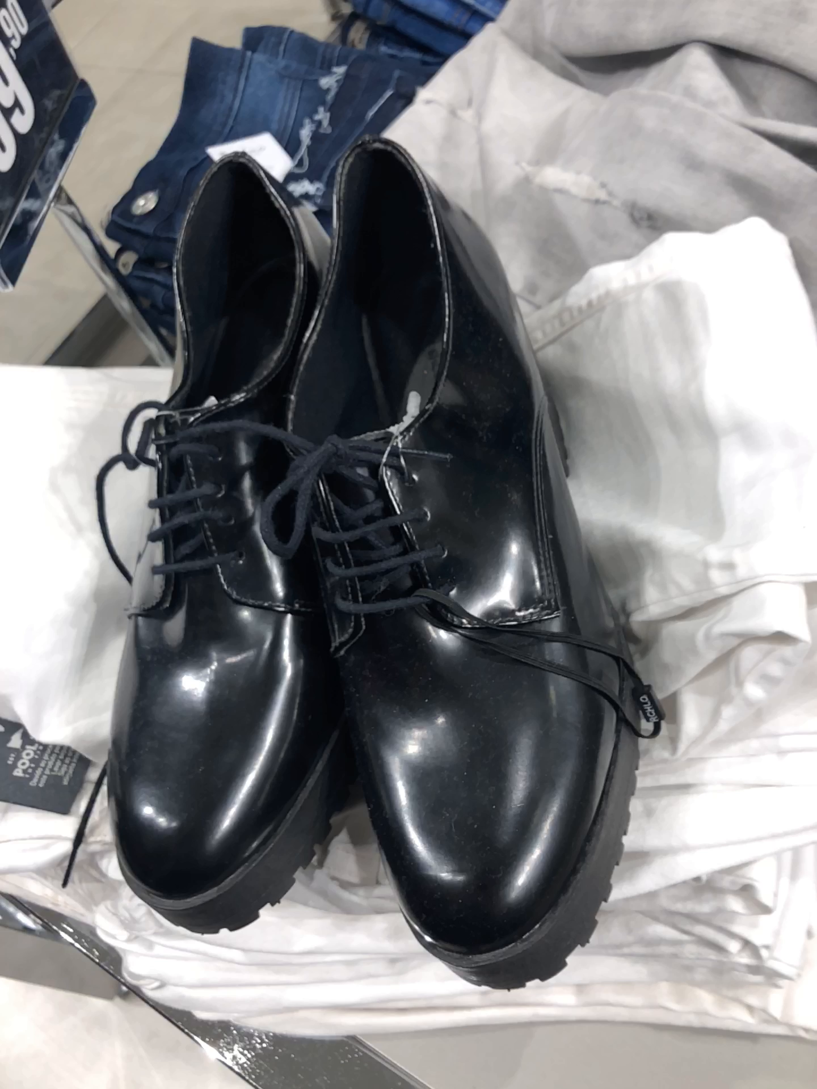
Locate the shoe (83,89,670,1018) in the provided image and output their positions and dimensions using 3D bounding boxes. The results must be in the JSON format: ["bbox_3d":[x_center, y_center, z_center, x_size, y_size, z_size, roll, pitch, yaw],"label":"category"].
[{"bbox_3d":[0.008,-0.002,0.307,0.100,0.149,0.261,-11,51,15],"label":"shoe"}]

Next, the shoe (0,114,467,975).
[{"bbox_3d":[-0.061,-0.004,0.339,0.100,0.159,0.261,-5,52,19],"label":"shoe"}]
